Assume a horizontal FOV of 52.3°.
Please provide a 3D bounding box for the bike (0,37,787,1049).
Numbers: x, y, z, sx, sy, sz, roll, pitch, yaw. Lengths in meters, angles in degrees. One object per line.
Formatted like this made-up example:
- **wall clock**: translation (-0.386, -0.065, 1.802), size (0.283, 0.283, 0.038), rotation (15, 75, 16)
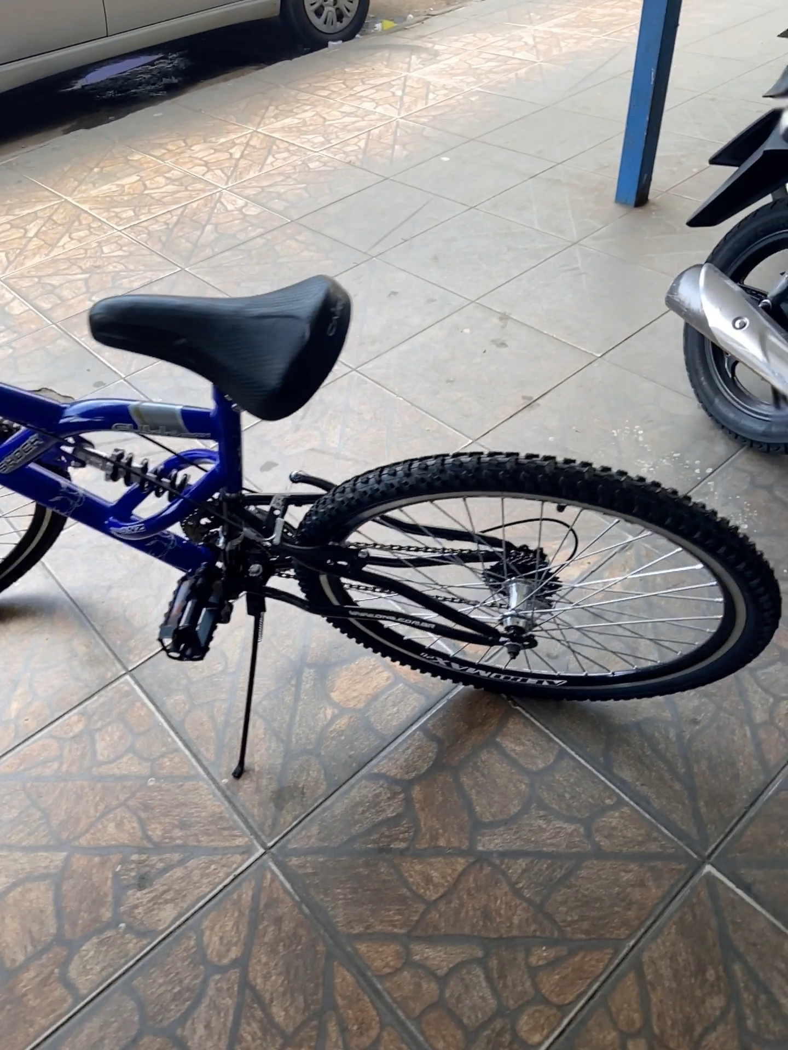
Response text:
- **bike**: translation (-0.347, 0.169, 0.946), size (1.610, 1.019, 0.517), rotation (-1, 46, 7)
